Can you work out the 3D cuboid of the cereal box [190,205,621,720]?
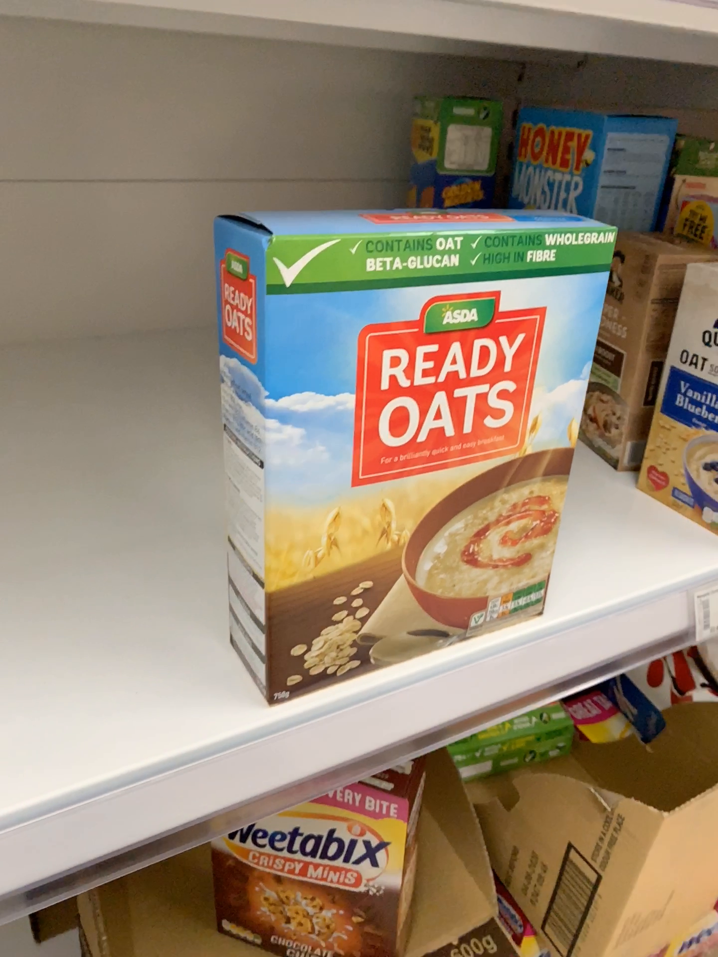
[{"bbox_3d":[0.022,-0.015,0.428,0.211,0.258,0.070,-11,30,-27],"label":"cereal box"}]
